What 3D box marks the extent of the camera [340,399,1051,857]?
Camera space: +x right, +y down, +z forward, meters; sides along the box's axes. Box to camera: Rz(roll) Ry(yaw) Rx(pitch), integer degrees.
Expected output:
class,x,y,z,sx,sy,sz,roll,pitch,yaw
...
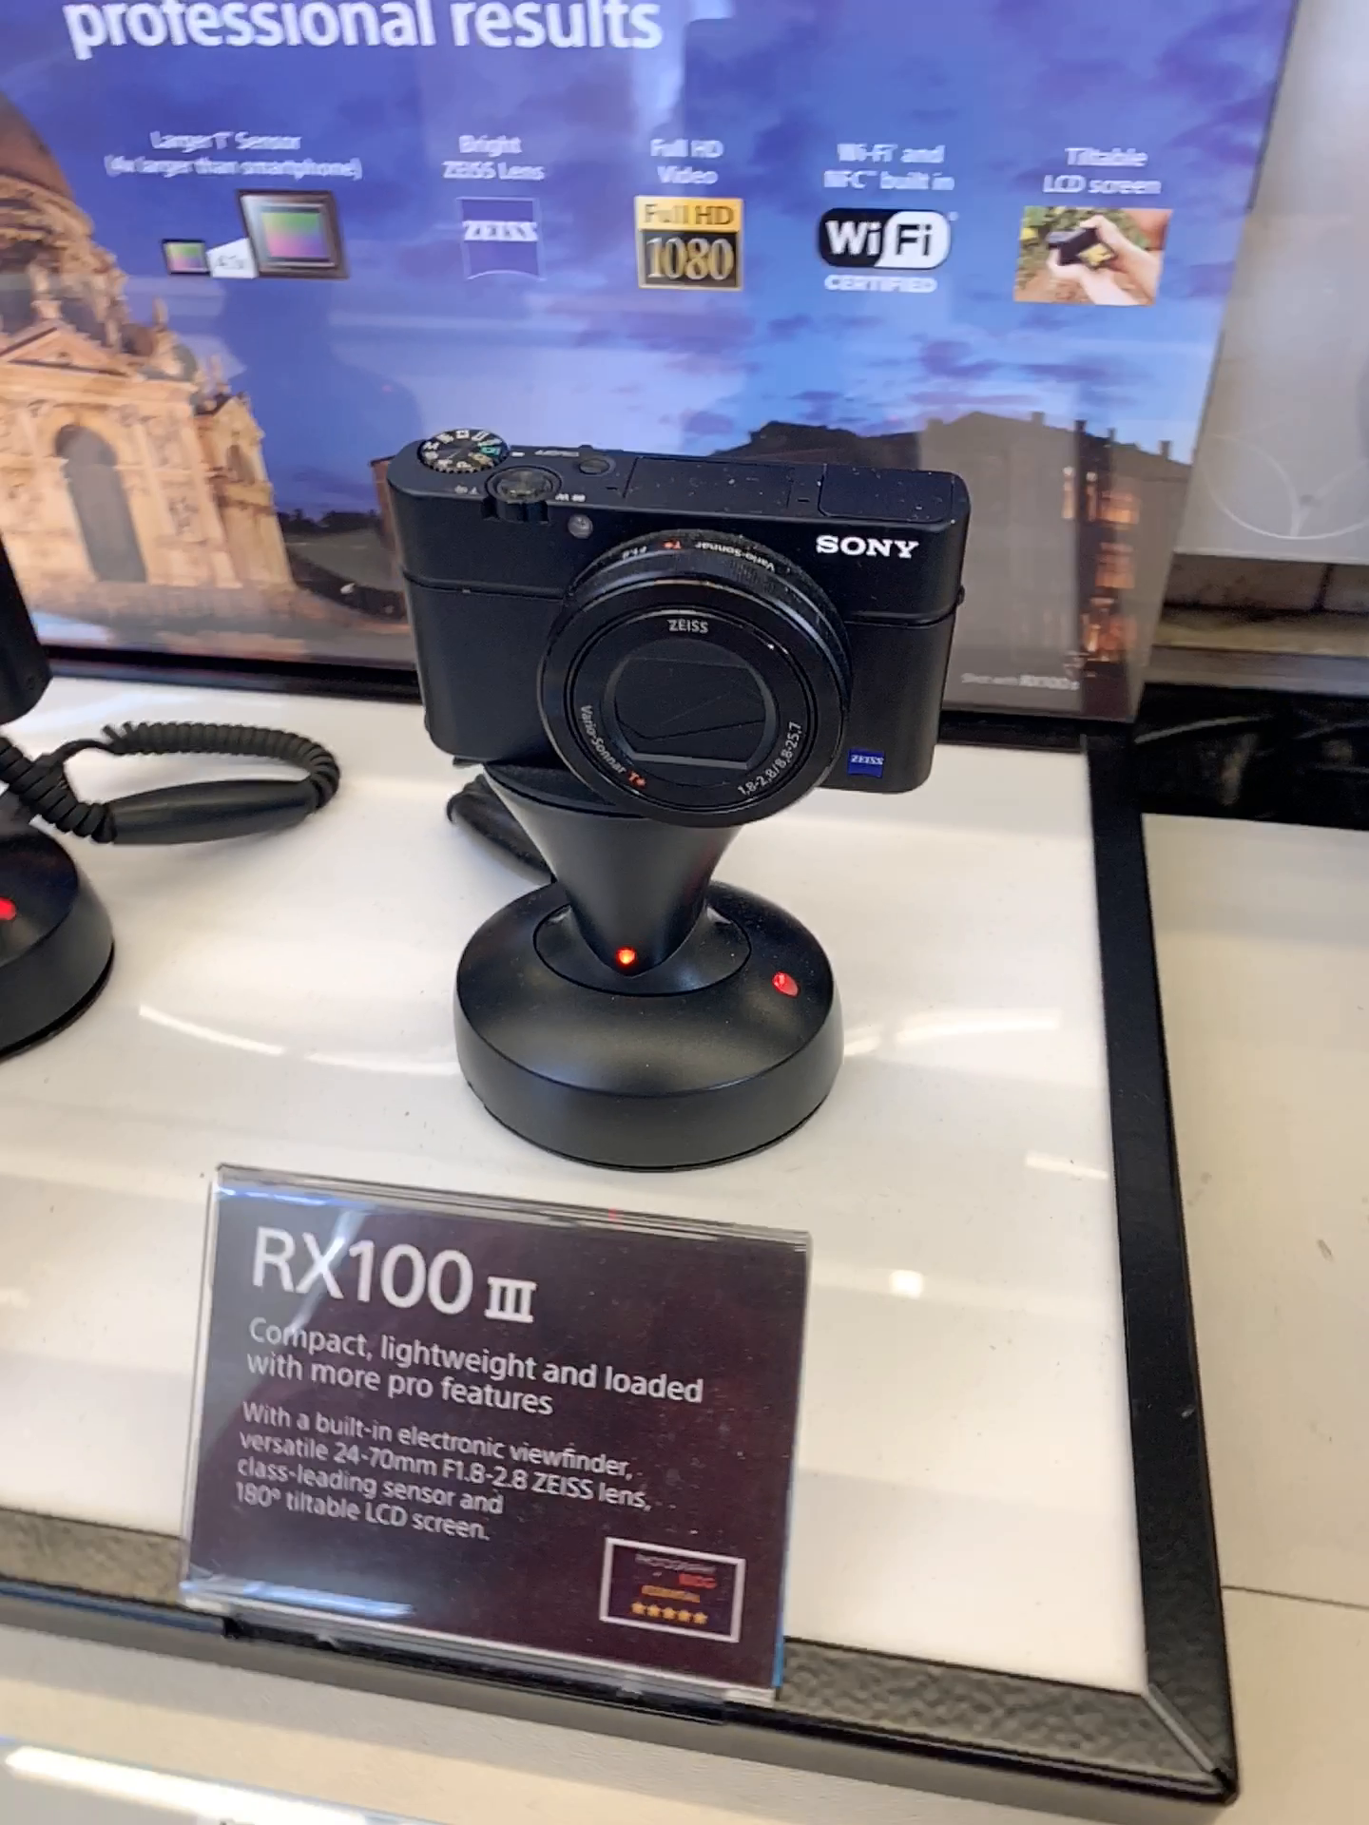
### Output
class,x,y,z,sx,sy,sz,roll,pitch,yaw
camera,0.004,-0.052,0.256,0.110,0.059,0.050,3,44,6
